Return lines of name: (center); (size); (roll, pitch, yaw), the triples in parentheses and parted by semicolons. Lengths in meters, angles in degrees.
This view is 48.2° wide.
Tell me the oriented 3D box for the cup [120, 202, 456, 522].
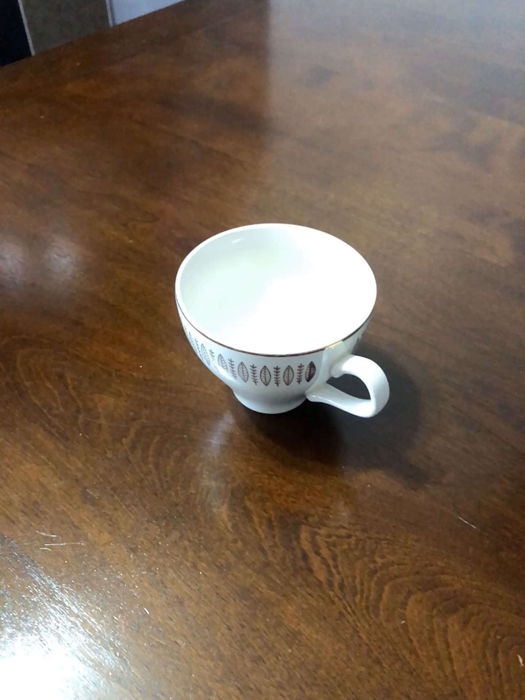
cup: (0.010, -0.001, 0.257); (0.100, 0.060, 0.090); (33, 54, 26)
